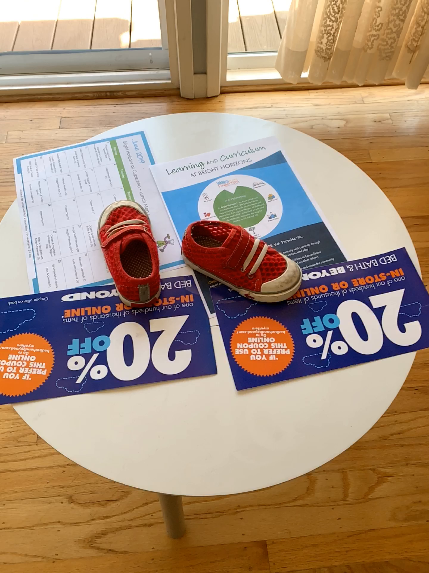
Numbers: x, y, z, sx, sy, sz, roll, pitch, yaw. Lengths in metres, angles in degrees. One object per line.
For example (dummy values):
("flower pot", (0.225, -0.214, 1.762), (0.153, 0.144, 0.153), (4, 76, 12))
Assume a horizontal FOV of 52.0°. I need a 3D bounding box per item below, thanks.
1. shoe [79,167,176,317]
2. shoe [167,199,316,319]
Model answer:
("shoe", (-0.112, -0.060, 0.564), (0.080, 0.070, 0.170), (-15, 61, -9))
("shoe", (0.035, -0.040, 0.611), (0.180, 0.070, 0.080), (24, 62, 13))
